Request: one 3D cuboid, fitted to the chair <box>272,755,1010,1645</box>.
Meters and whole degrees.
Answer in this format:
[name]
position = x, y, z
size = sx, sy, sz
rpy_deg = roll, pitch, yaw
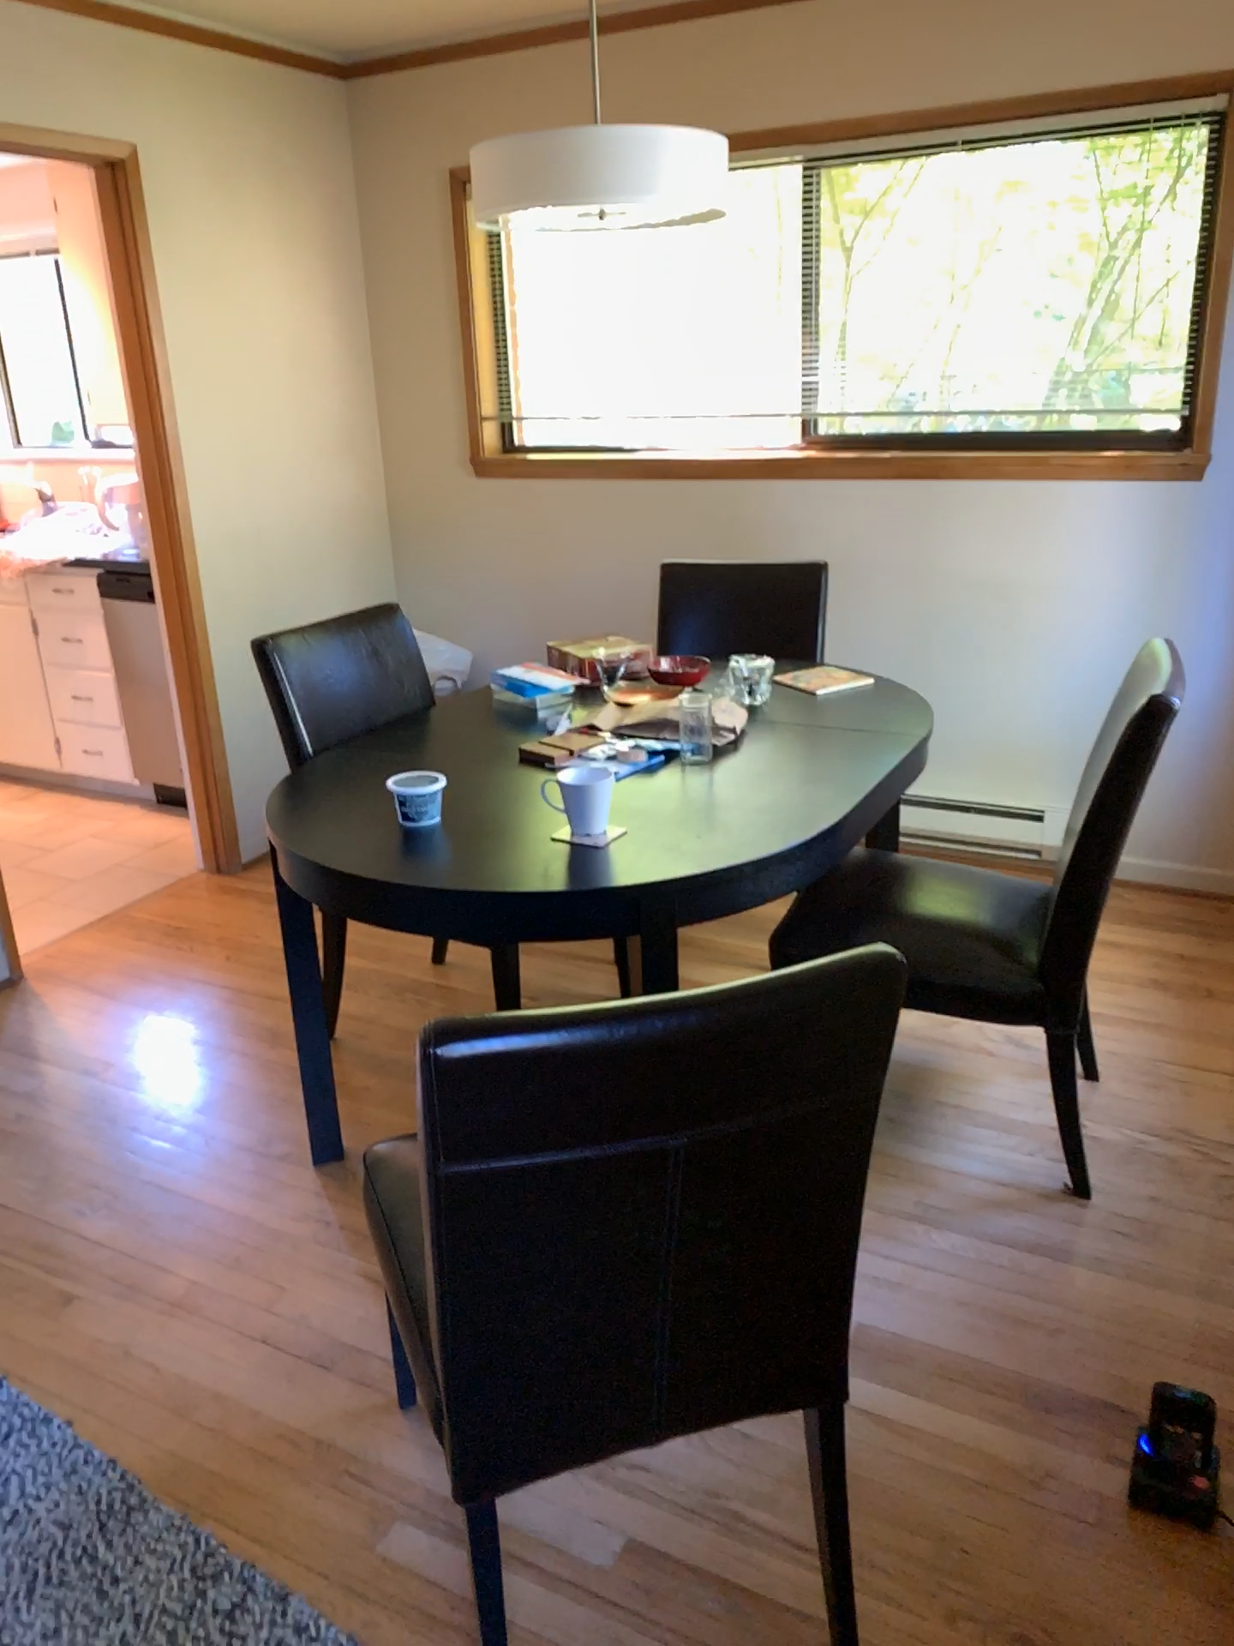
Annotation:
[chair]
position = -0.012, 0.564, 1.541
size = 0.620, 1.085, 0.653
rpy_deg = -8, 20, -16
